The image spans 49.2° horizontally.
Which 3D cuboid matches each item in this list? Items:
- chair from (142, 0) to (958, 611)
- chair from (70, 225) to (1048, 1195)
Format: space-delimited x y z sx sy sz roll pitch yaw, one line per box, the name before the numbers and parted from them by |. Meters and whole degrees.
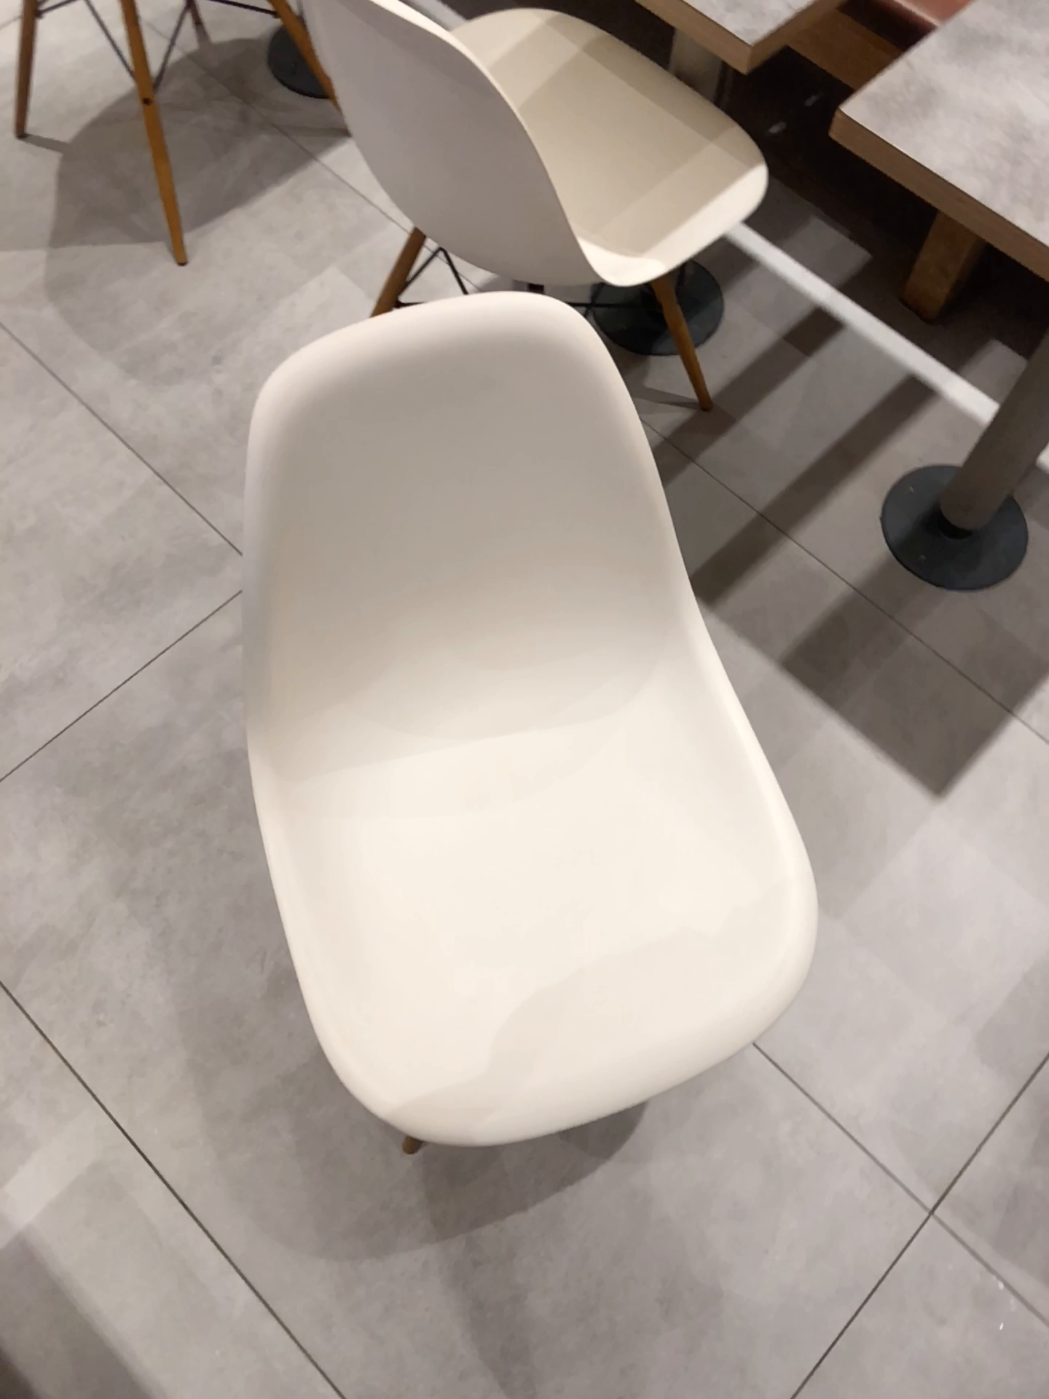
chair | 0.012 -0.627 1.418 0.561 0.771 0.513 43 71 15
chair | -0.015 0.102 1.097 0.471 0.781 0.553 -18 68 -10
